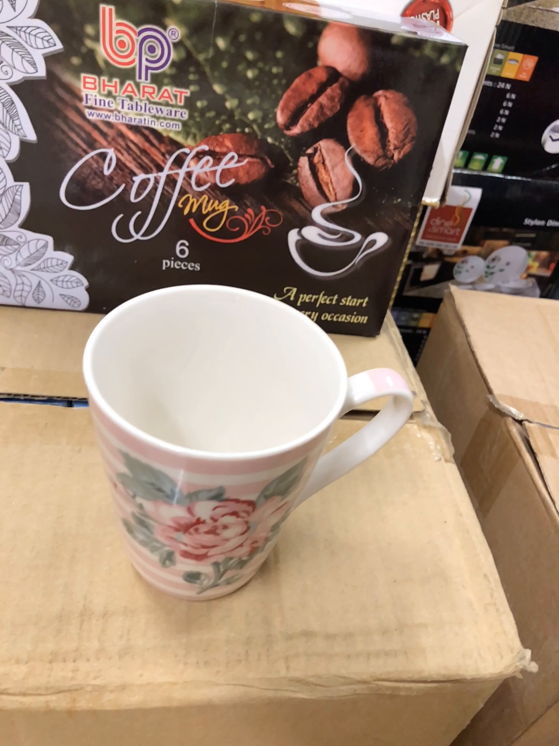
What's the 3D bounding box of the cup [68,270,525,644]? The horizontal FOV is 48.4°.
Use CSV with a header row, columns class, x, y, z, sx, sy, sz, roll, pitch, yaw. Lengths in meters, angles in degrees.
class,x,y,z,sx,sy,sz,roll,pitch,yaw
cup,-0.005,0.027,0.231,0.130,0.089,0.090,-1,41,-15
